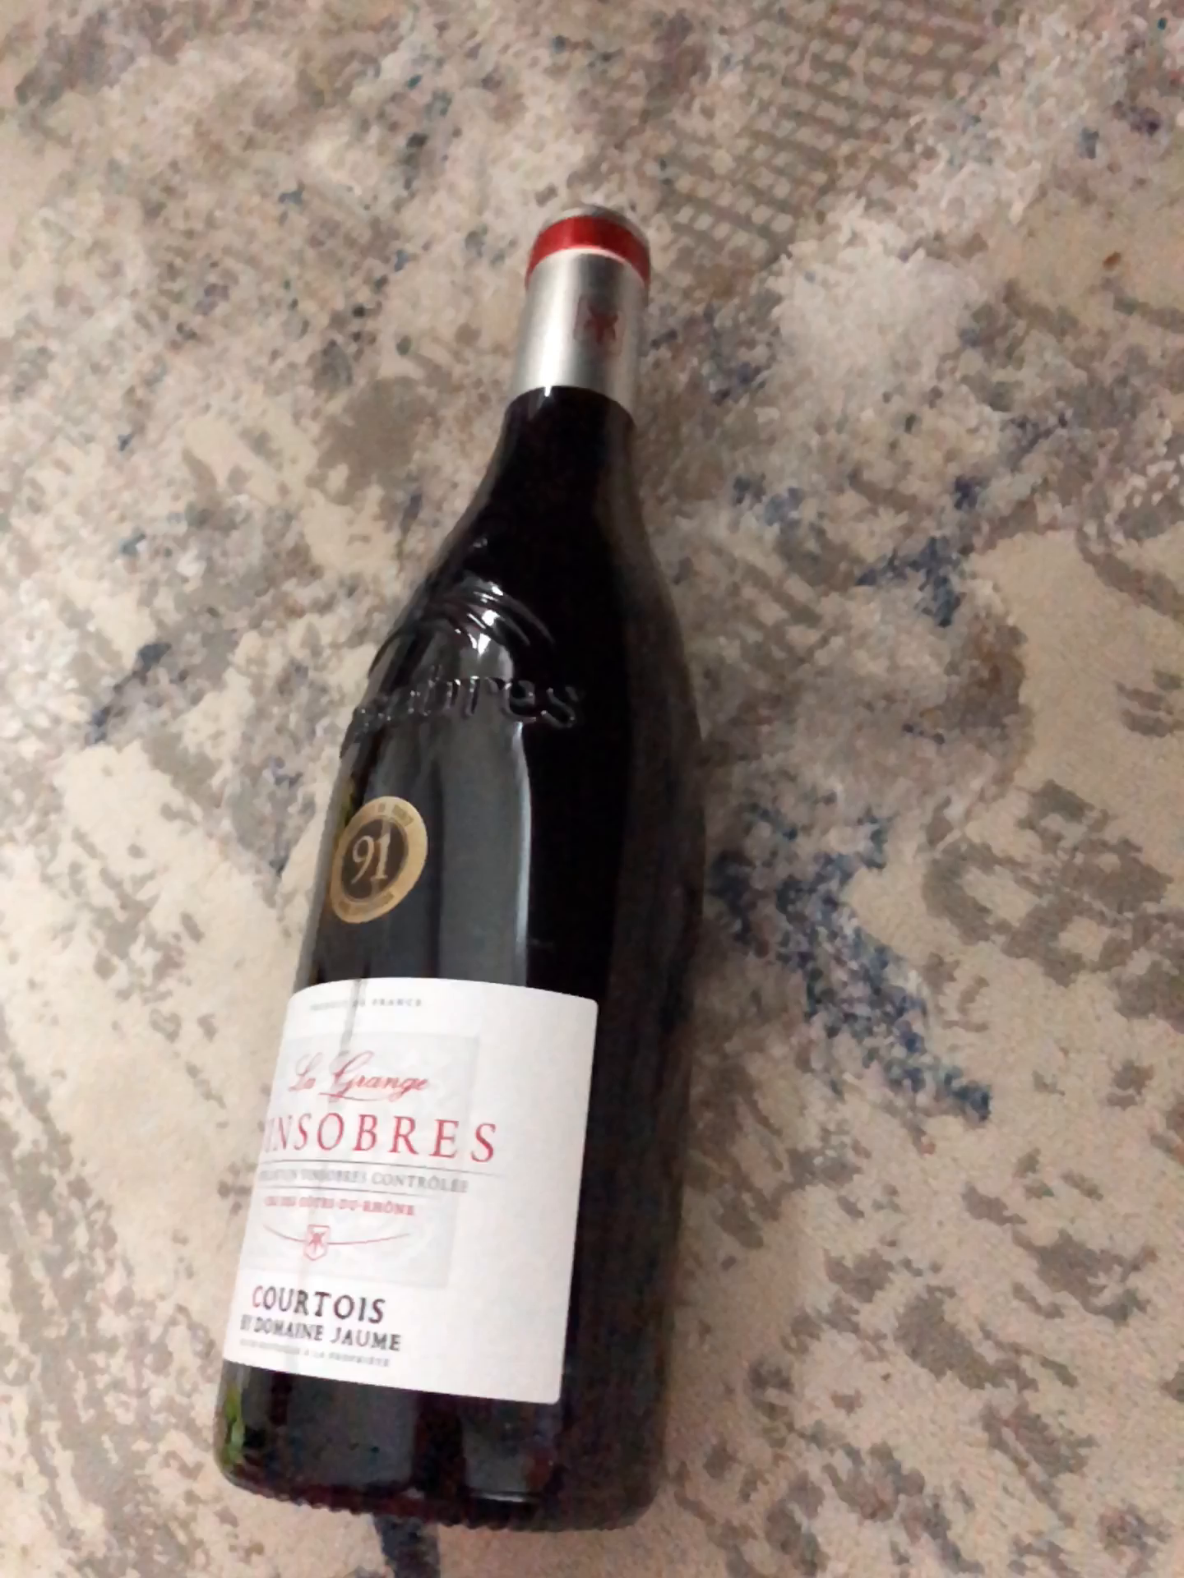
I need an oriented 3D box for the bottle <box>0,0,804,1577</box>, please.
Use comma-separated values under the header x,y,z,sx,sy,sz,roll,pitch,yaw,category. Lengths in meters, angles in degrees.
x,y,z,sx,sy,sz,roll,pitch,yaw,category
-0.021,-0.013,0.287,0.090,0.100,0.300,-7,65,30,bottle
